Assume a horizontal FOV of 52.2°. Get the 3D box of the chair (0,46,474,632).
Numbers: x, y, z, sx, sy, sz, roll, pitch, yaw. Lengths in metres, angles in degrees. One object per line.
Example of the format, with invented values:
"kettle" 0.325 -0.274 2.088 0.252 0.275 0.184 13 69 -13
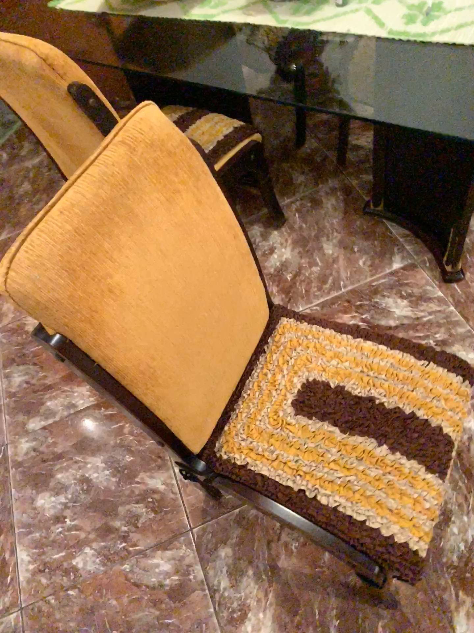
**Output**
"chair" 0.132 0.128 0.913 0.601 0.936 0.561 18 63 24
